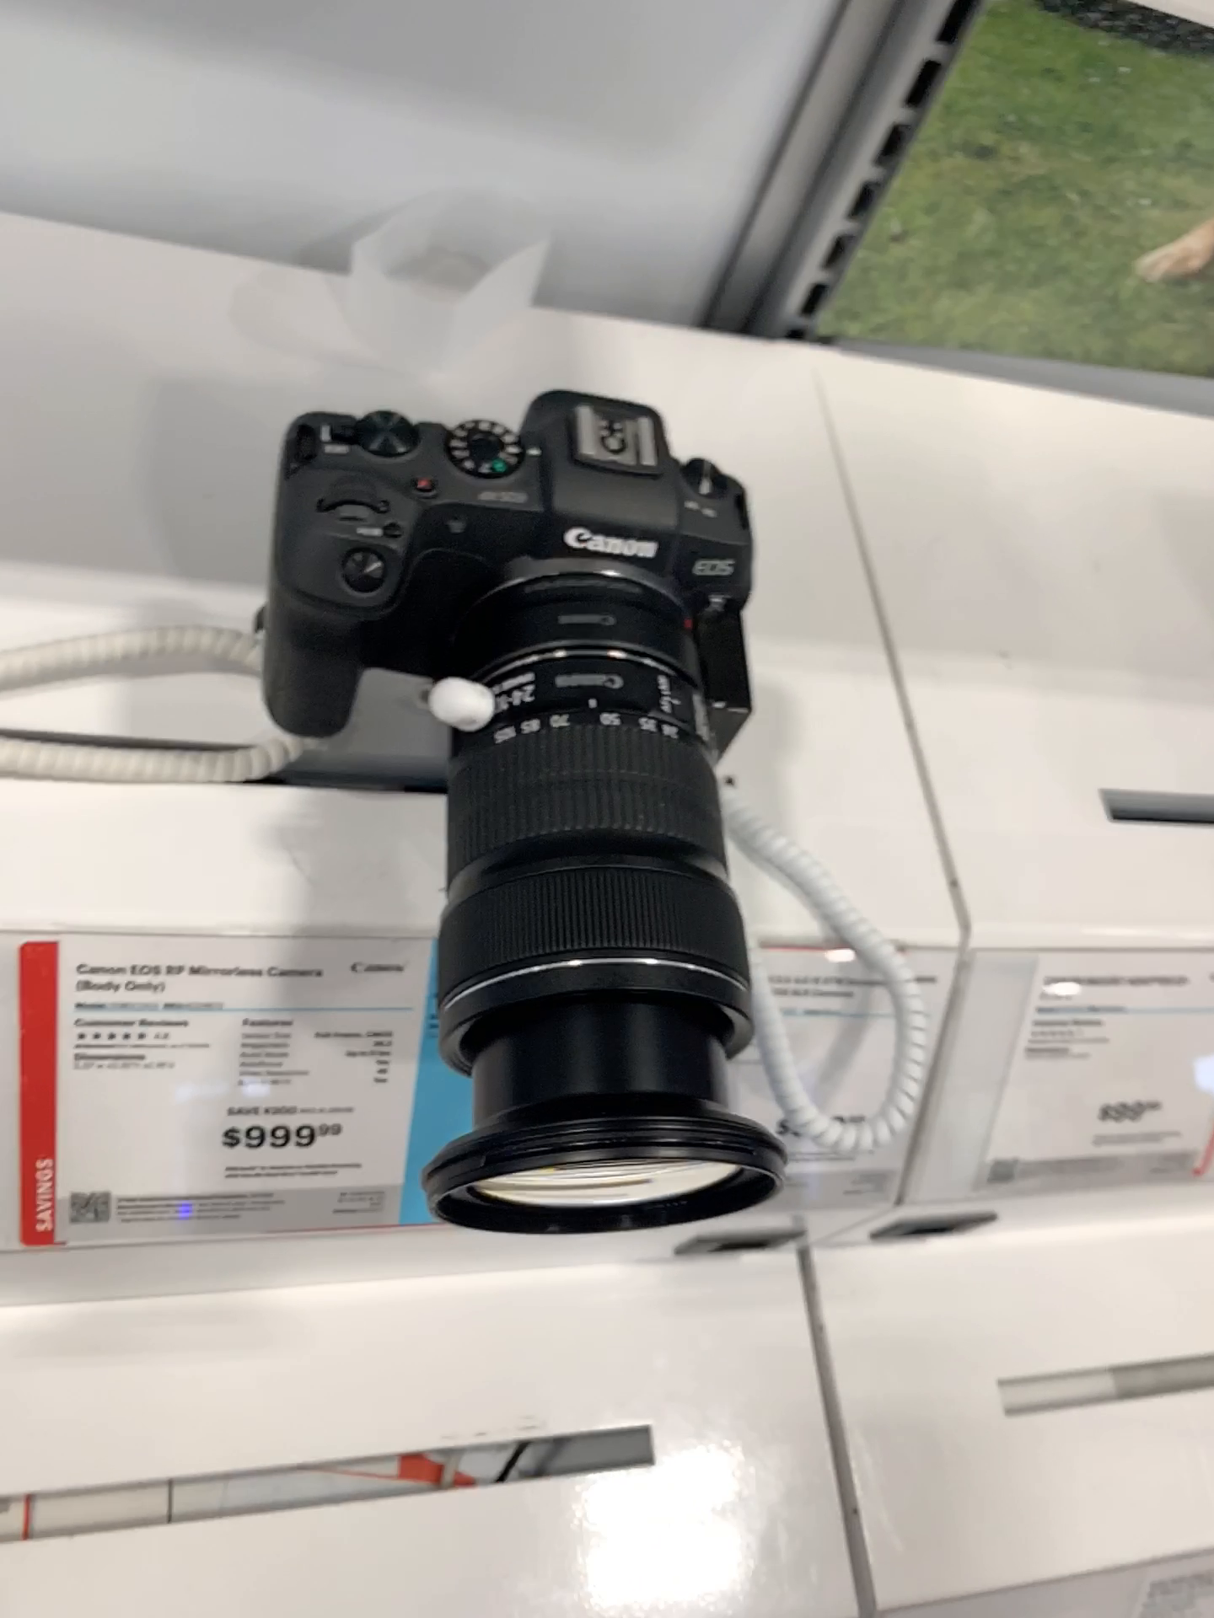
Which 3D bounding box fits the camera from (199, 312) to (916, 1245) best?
[{"bbox_3d":[-0.023,-0.005,0.317,0.132,0.100,0.200,5,59,-15],"label":"camera"}]
